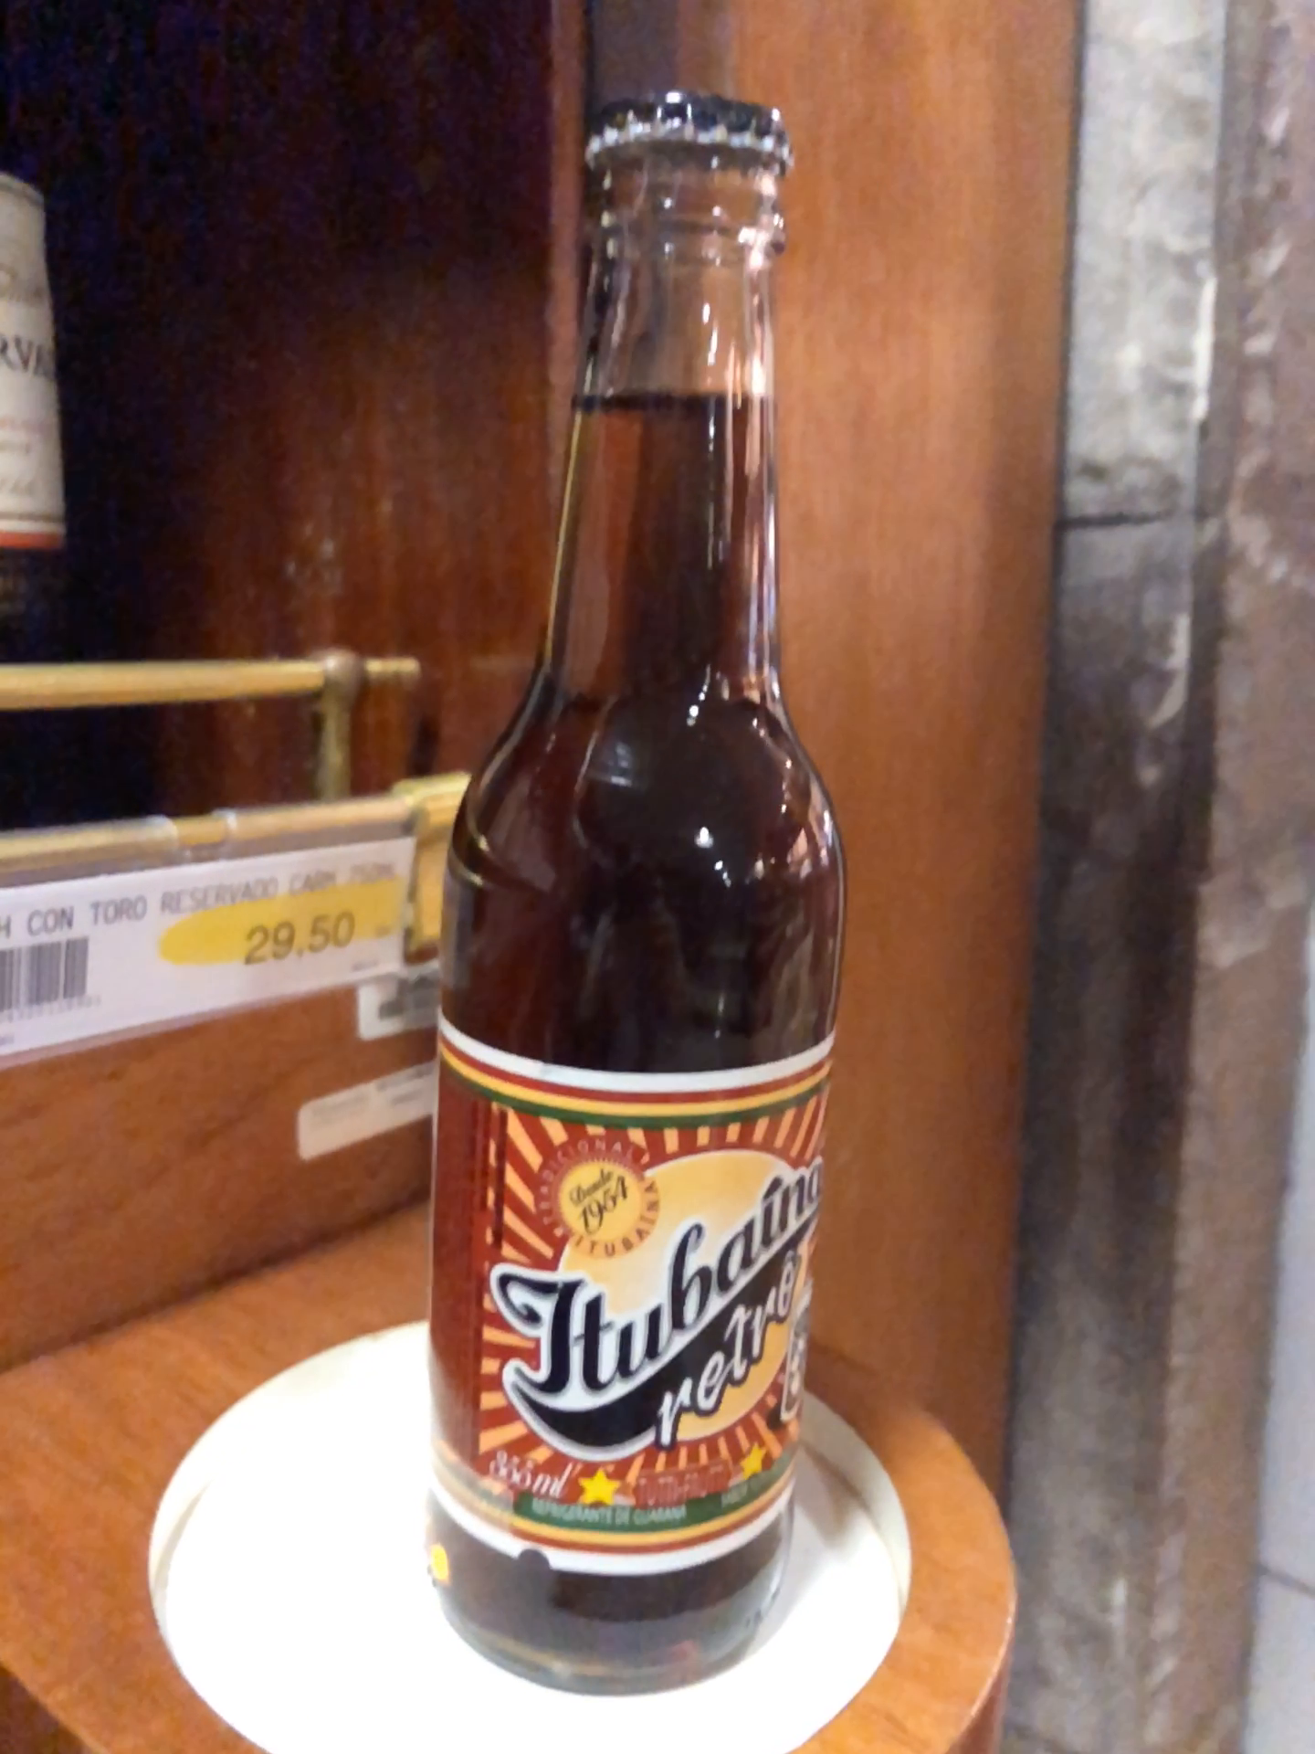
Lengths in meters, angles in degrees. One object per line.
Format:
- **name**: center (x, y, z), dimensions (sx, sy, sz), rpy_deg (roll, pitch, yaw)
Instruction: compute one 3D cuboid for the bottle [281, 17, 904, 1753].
- **bottle**: center (-0.013, 0.009, 0.250), dimensions (0.070, 0.249, 0.070), rpy_deg (1, 9, 0)
